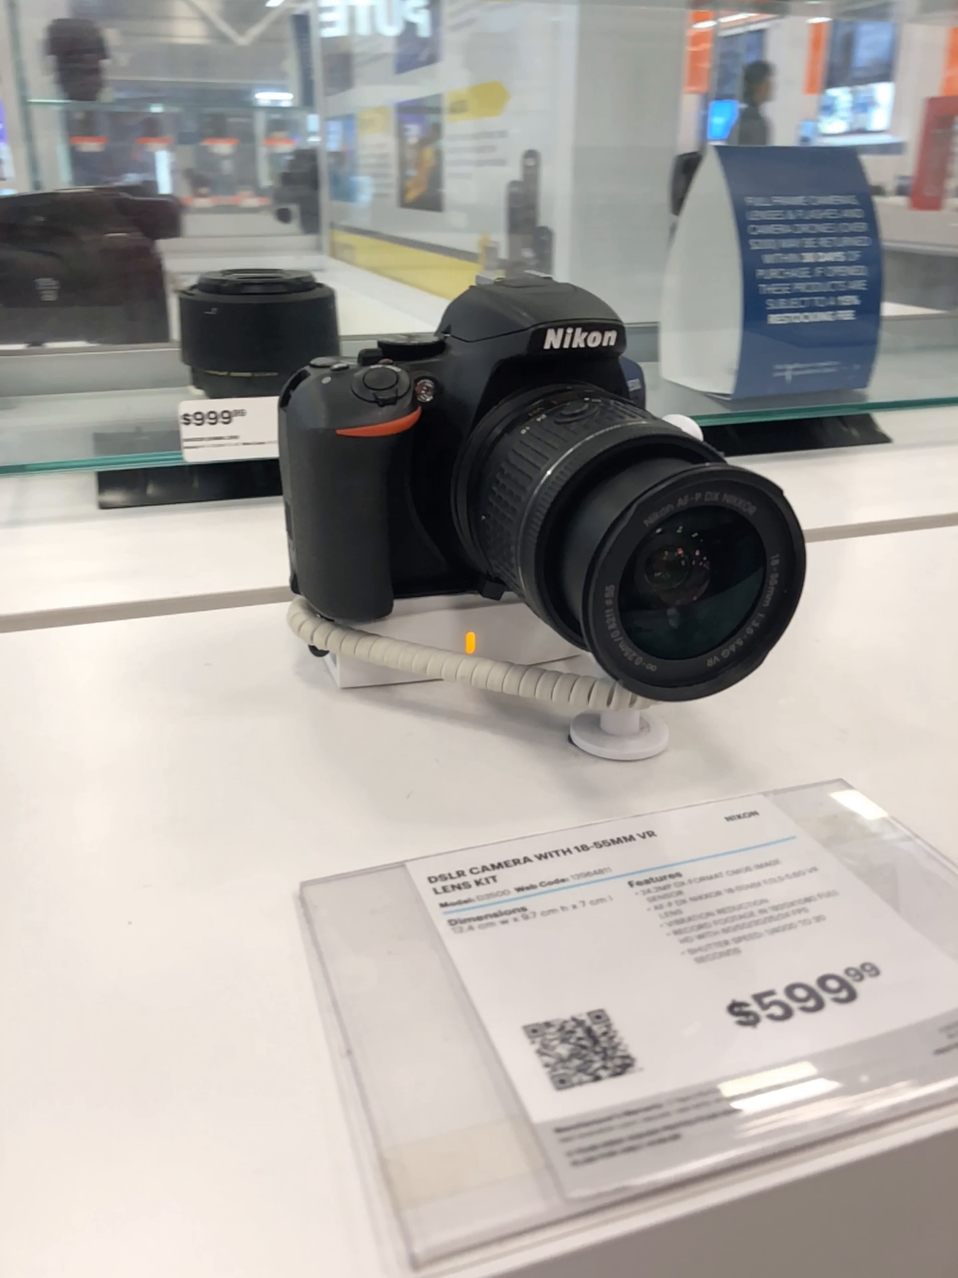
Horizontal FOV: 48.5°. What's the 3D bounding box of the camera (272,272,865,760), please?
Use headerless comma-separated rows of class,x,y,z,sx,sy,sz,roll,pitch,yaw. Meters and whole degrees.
camera,0.010,-0.055,0.333,0.120,0.100,0.171,-7,24,-16
